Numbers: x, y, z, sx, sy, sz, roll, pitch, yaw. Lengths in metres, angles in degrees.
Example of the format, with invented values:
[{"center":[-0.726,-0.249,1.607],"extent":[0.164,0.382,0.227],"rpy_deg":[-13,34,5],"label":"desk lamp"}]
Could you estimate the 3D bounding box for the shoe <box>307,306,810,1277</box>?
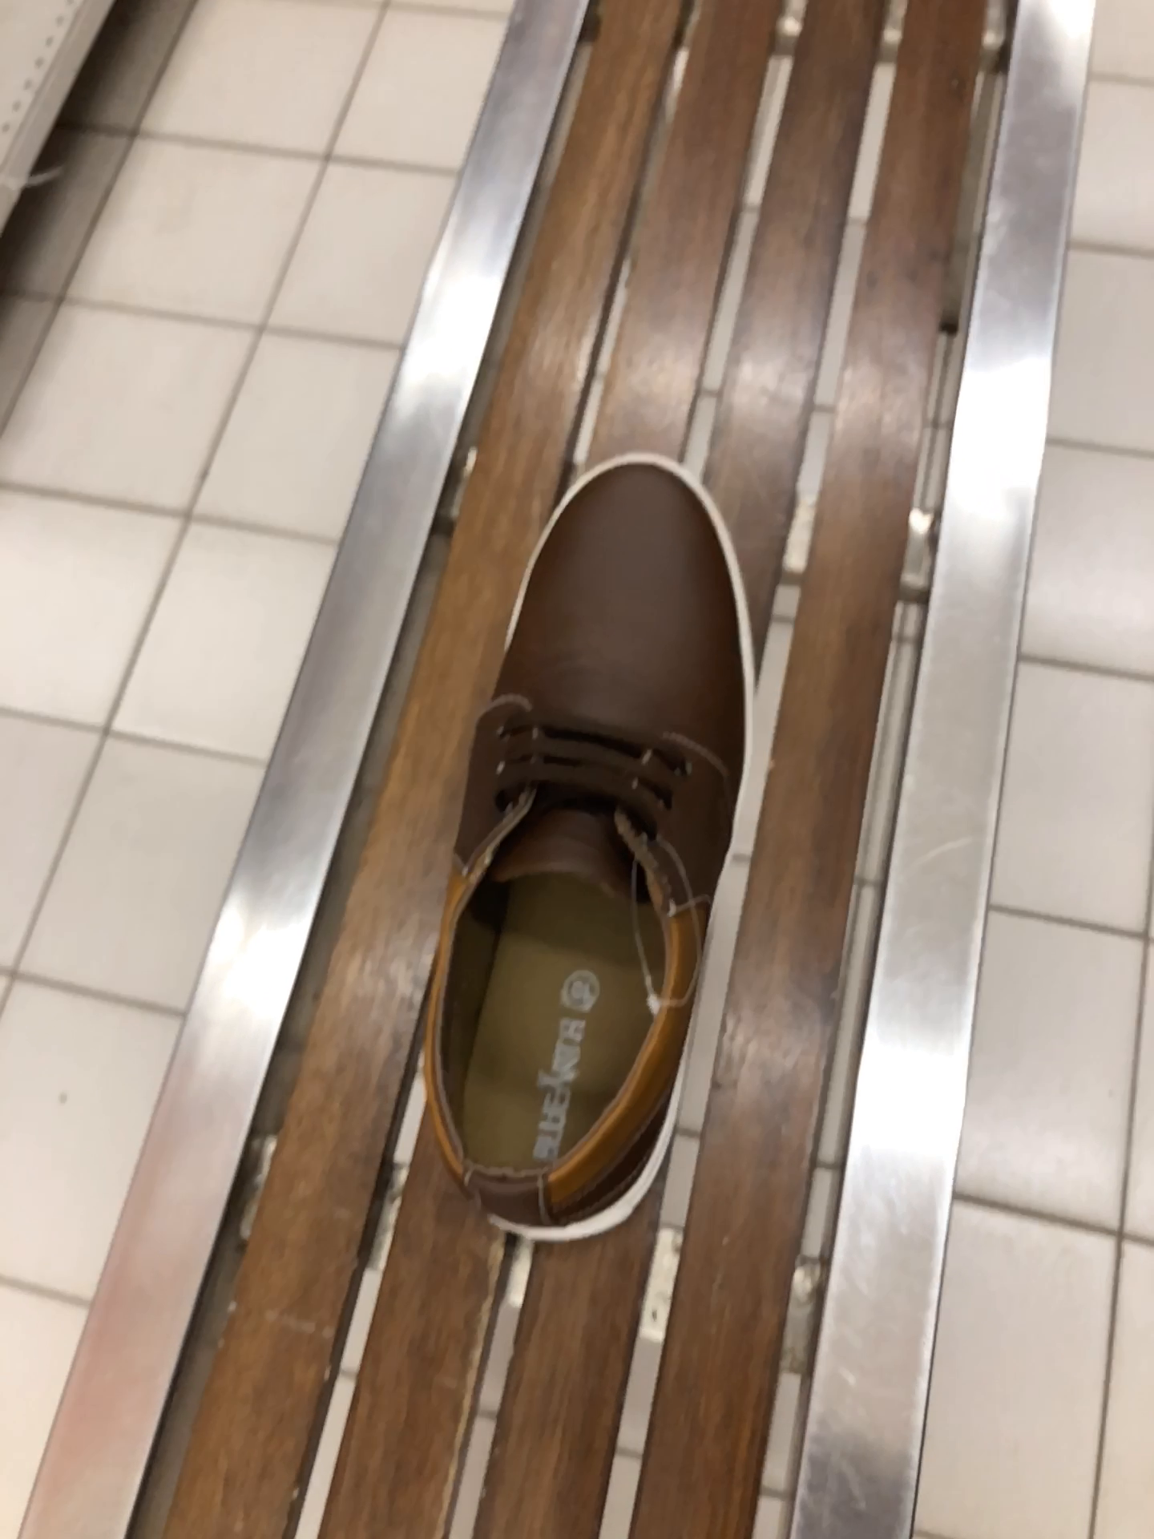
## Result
[{"center":[0.008,0.004,0.457],"extent":[0.109,0.115,0.312],"rpy_deg":[7,70,8],"label":"shoe"}]
